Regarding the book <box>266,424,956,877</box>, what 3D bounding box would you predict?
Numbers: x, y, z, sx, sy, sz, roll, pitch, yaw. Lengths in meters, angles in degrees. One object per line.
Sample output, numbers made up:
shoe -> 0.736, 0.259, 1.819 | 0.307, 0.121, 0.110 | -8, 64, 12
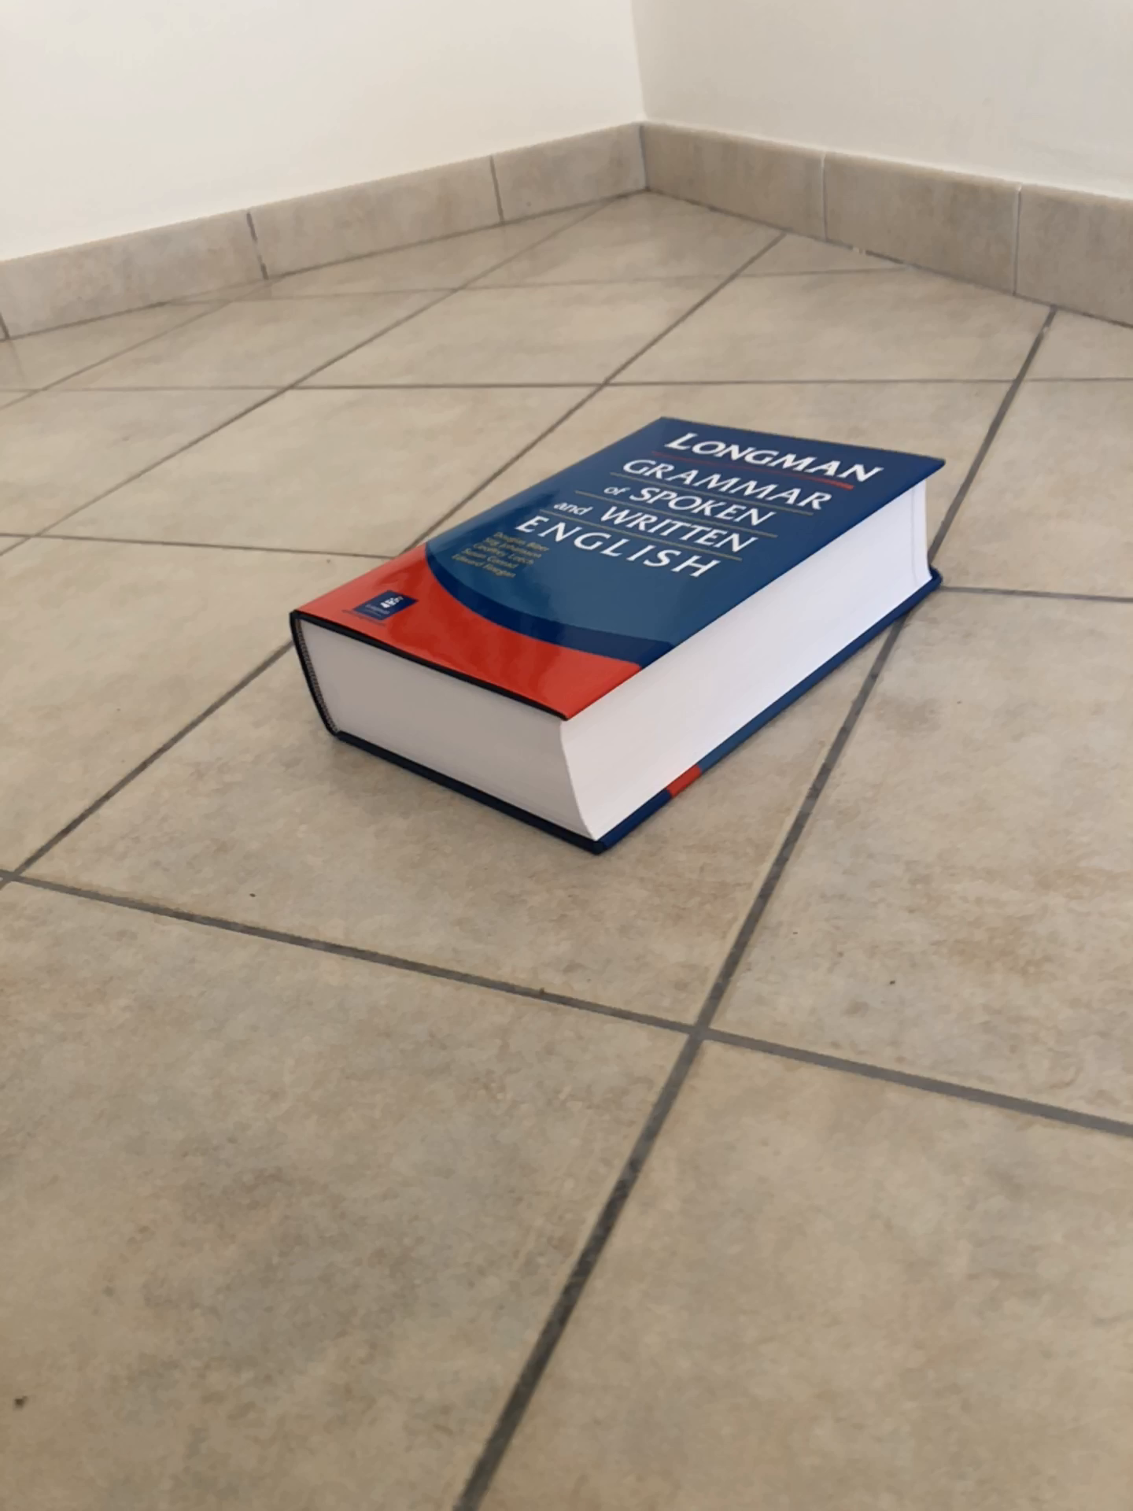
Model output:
book -> 0.027, -0.067, 0.552 | 0.177, 0.060, 0.251 | 21, 44, 40
